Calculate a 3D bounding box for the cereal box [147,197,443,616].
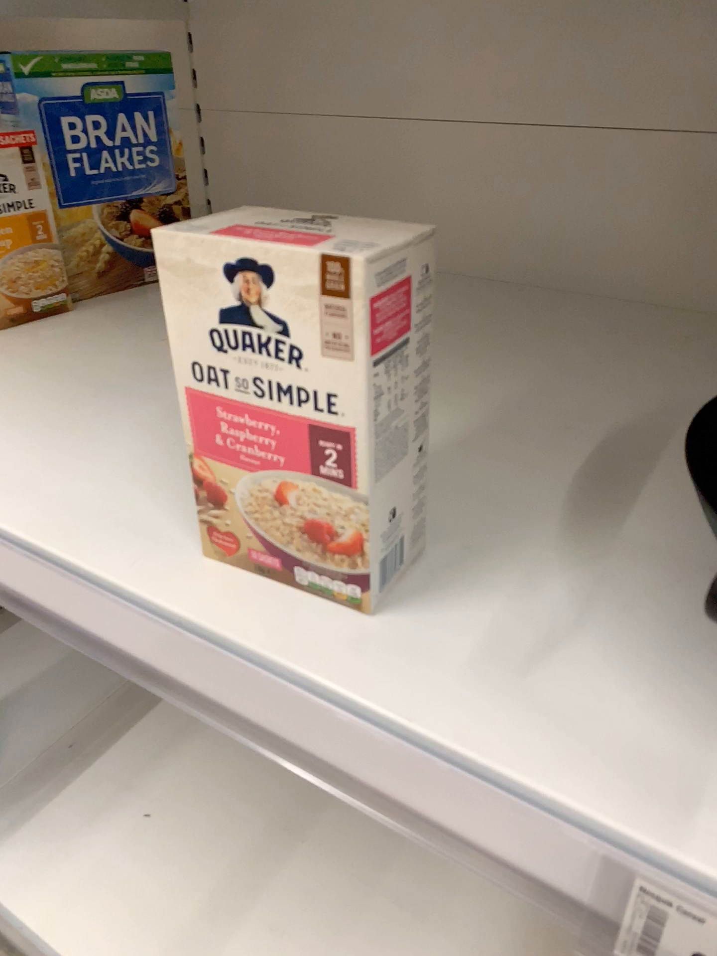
[{"bbox_3d":[-0.031,-0.044,0.430,0.130,0.208,0.081,15,34,25],"label":"cereal box"}]
